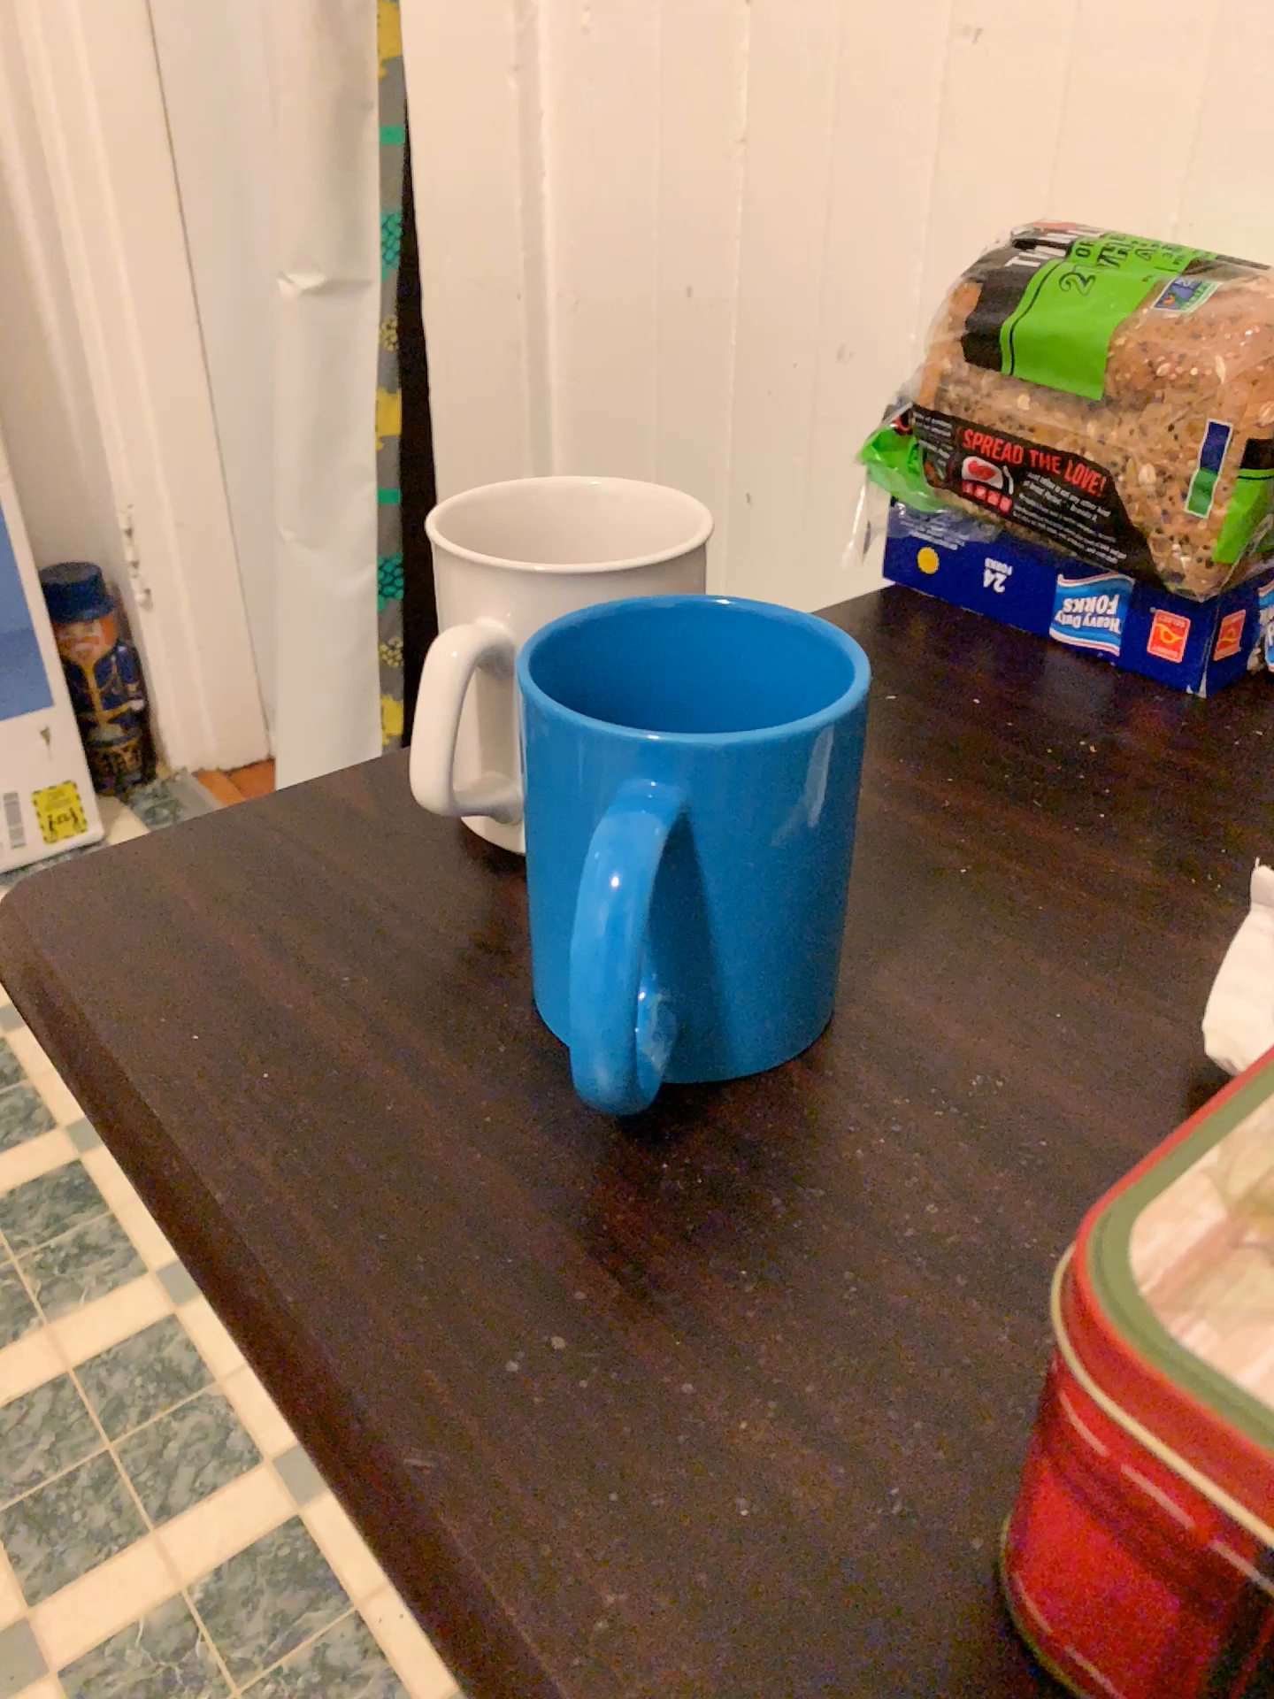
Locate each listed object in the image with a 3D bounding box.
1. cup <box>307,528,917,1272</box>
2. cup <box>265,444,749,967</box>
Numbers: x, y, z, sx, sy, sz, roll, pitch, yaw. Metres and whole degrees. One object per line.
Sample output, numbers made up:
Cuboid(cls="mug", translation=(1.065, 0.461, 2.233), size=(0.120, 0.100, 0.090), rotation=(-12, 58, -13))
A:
Cuboid(cls="cup", translation=(0.005, 0.000, 0.307), size=(0.090, 0.099, 0.141), rotation=(10, 34, 15))
Cuboid(cls="cup", translation=(-0.030, -0.051, 0.396), size=(0.090, 0.099, 0.131), rotation=(11, 34, 17))
